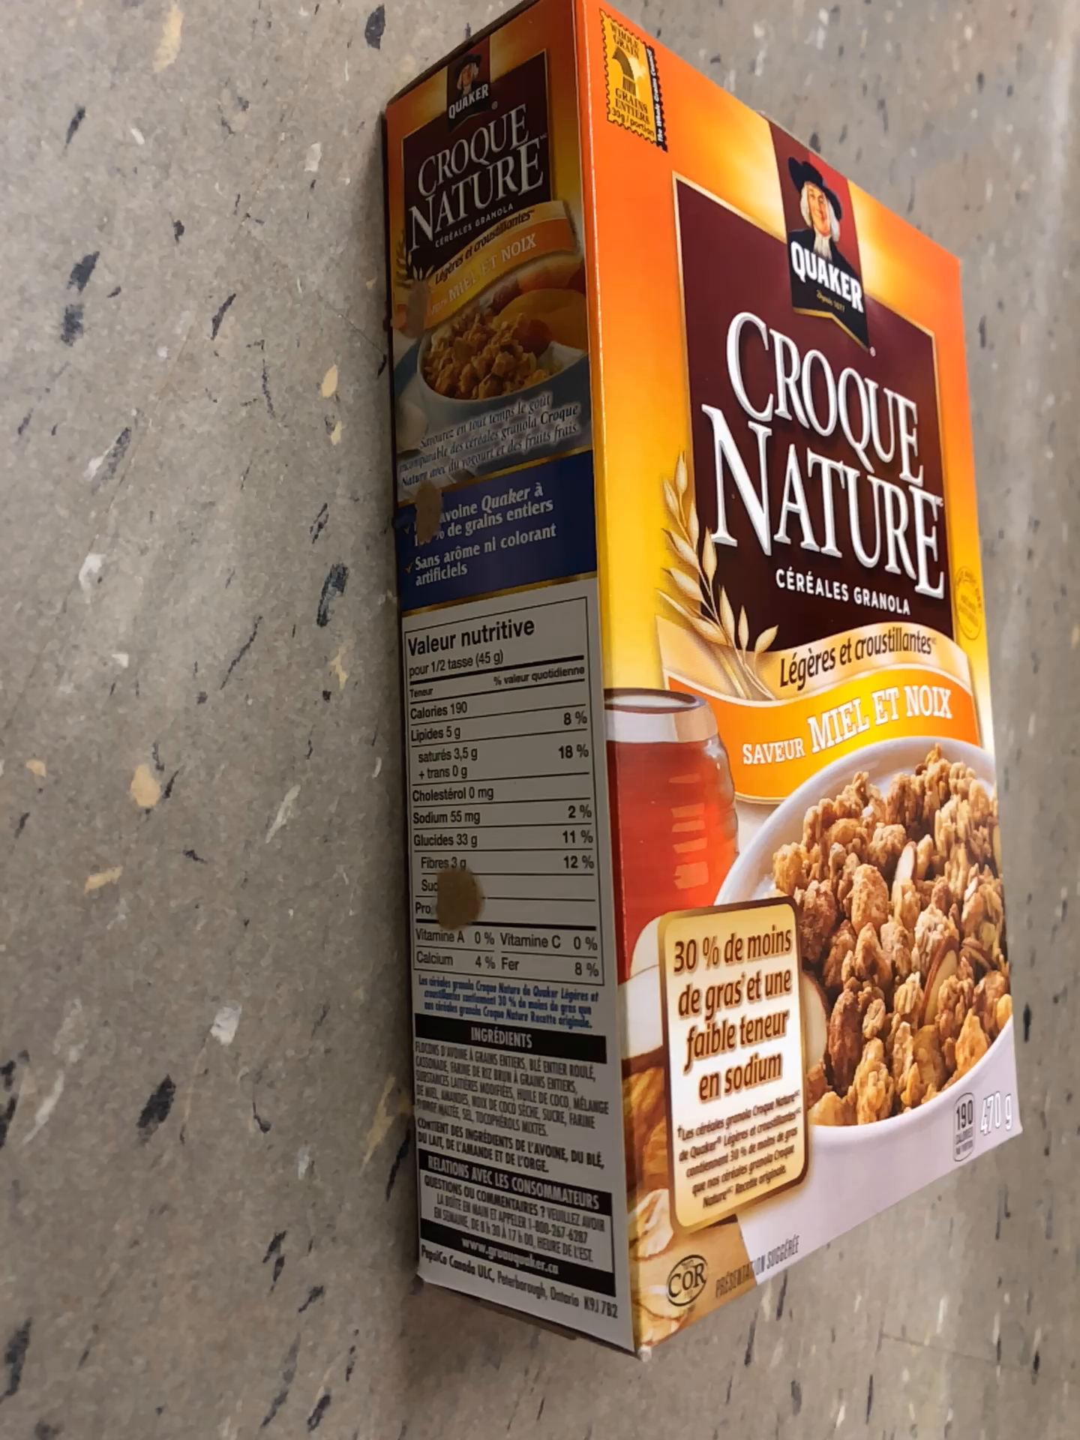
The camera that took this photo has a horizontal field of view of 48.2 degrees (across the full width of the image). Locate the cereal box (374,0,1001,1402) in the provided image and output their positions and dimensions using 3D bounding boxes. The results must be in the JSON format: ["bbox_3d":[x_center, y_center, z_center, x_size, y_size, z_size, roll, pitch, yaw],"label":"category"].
[{"bbox_3d":[0.043,-0.007,0.276,0.161,0.050,0.240,2,85,-48],"label":"cereal box"}]
